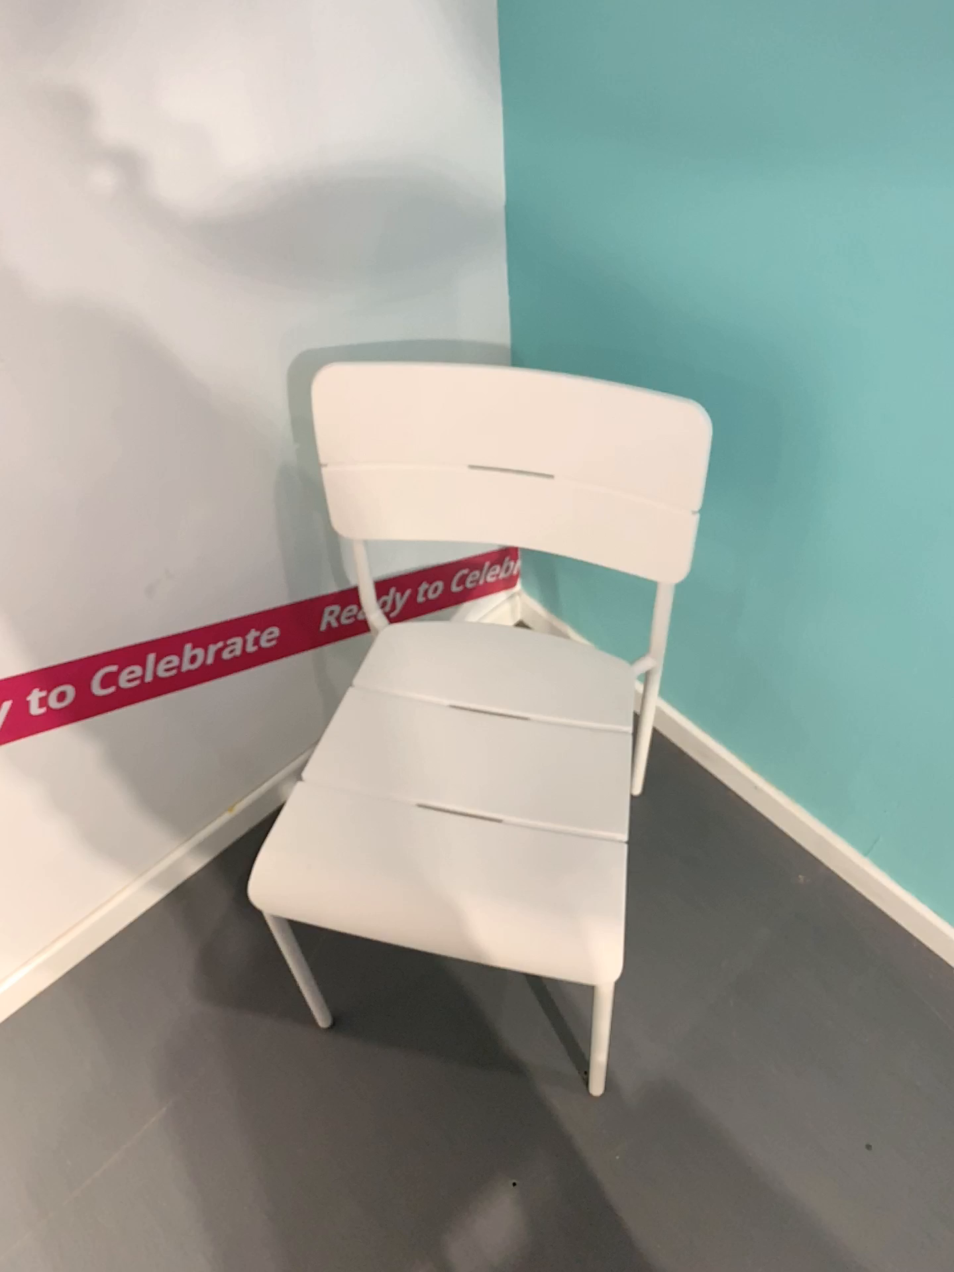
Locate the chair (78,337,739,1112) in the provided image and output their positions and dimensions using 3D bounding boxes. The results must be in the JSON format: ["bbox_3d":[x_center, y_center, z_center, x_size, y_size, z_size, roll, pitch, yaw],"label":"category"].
[{"bbox_3d":[-0.001,0.159,1.114,0.430,0.807,0.451,9,54,11],"label":"chair"}]
